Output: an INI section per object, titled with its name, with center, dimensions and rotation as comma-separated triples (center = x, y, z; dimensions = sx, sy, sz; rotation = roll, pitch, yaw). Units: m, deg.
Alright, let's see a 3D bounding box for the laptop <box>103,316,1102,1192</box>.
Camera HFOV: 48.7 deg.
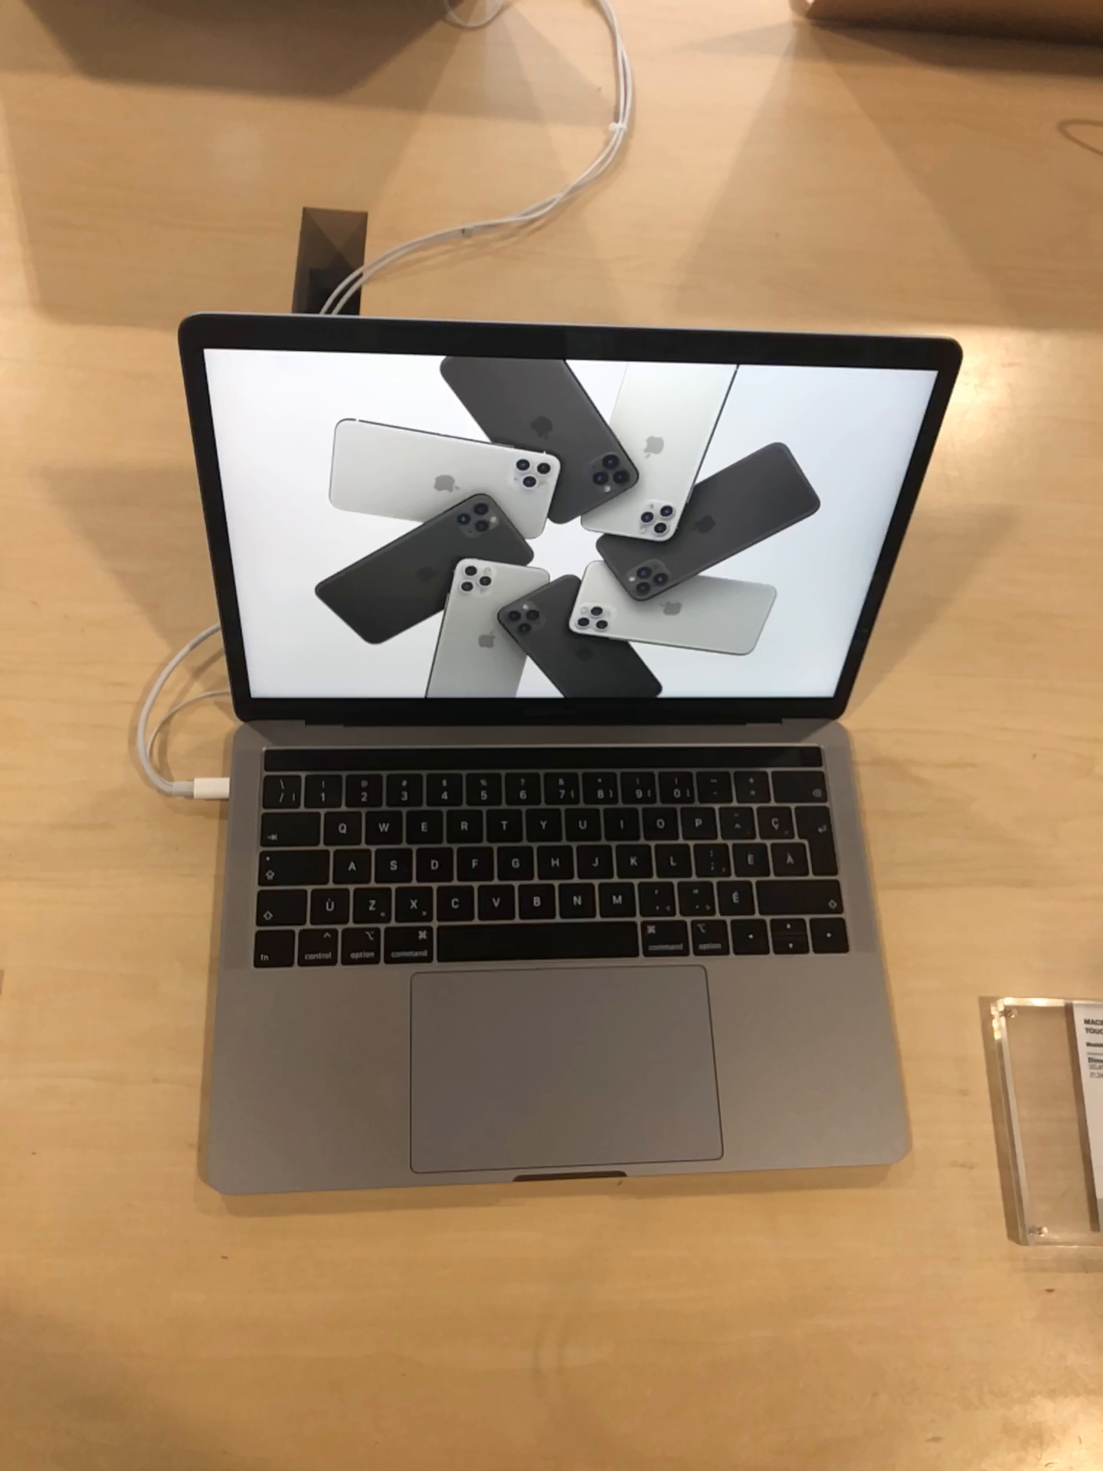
[laptop]
center = 0.006, 0.018, 0.489
dimensions = 0.296, 0.182, 0.295
rotation = 0, 68, -7
